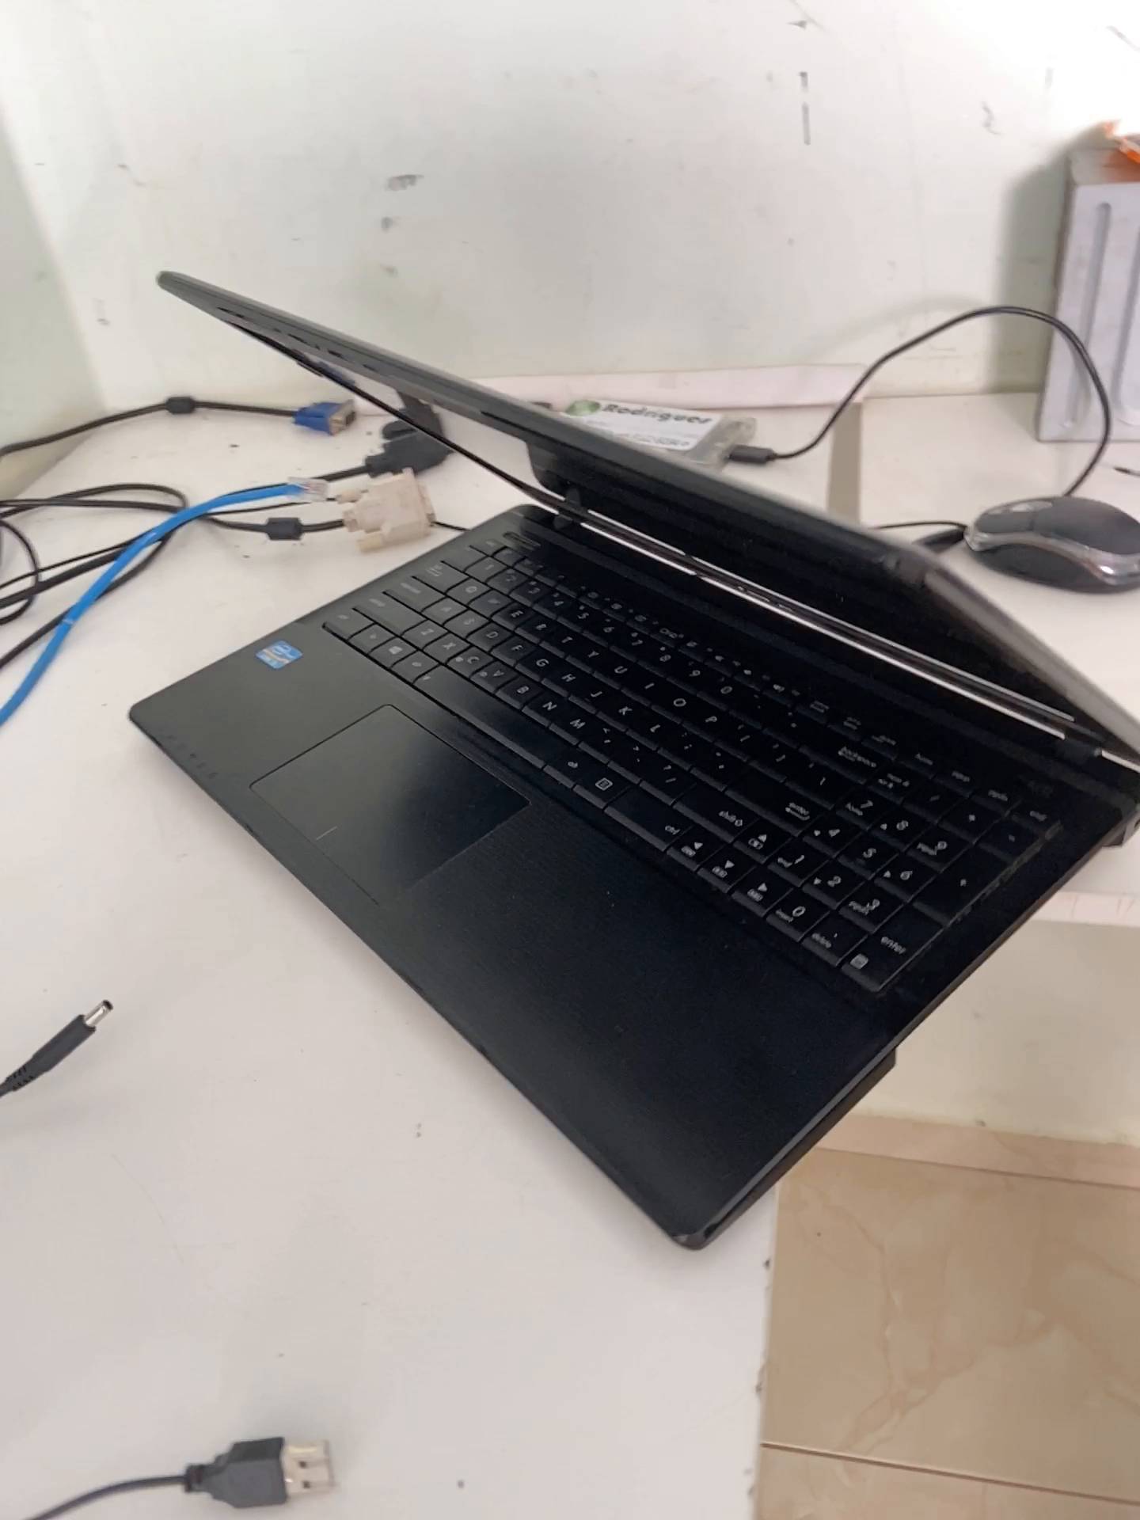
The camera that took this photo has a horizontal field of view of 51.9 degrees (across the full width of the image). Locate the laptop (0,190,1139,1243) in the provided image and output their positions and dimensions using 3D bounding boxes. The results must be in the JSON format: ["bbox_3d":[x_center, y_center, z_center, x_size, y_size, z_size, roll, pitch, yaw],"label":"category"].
[{"bbox_3d":[-0.008,-0.072,0.449,0.247,0.165,0.377,-33,45,-26],"label":"laptop"}]
